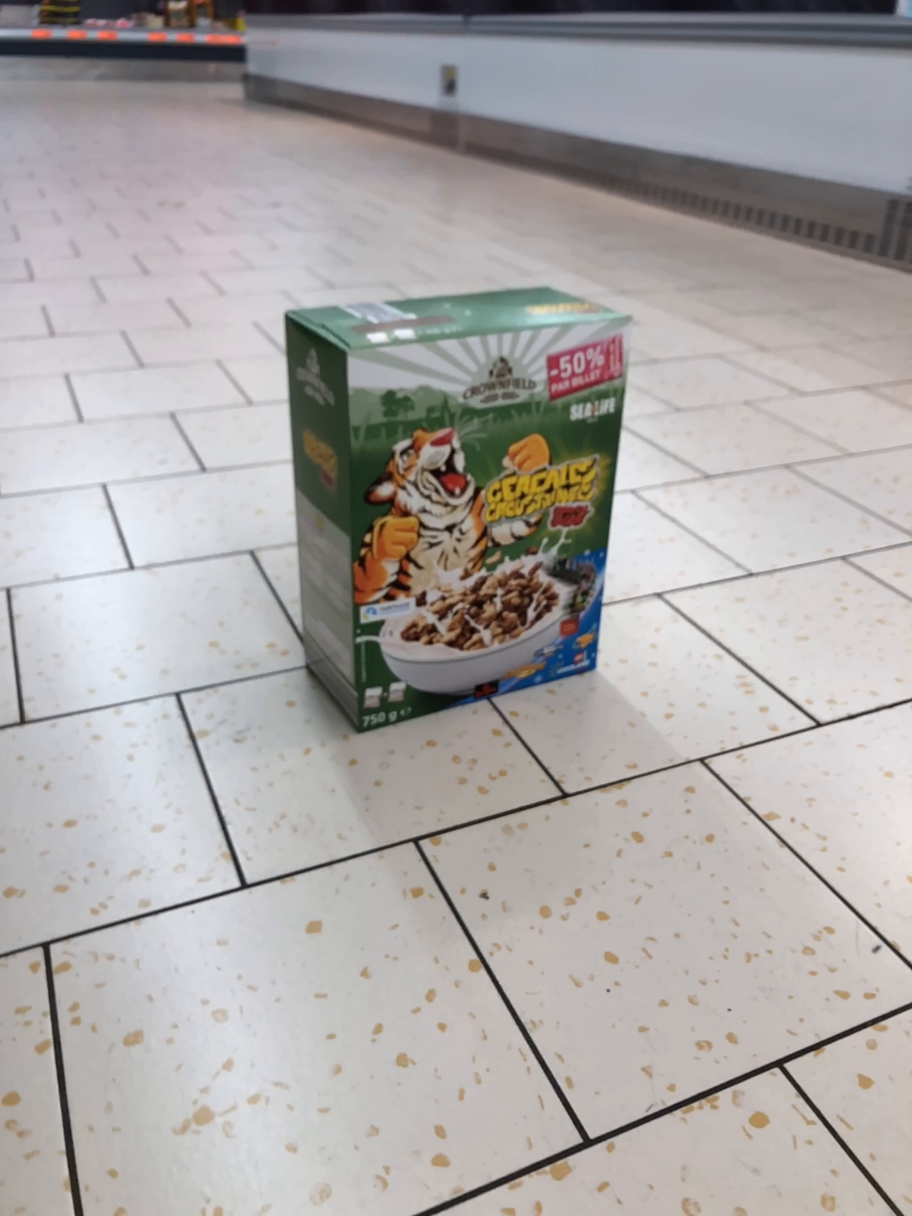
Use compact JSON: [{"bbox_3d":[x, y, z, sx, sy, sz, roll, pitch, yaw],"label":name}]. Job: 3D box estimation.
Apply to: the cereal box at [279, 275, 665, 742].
[{"bbox_3d":[0.007,-0.073,0.680,0.211,0.258,0.110,-13,32,-26],"label":"cereal box"}]
